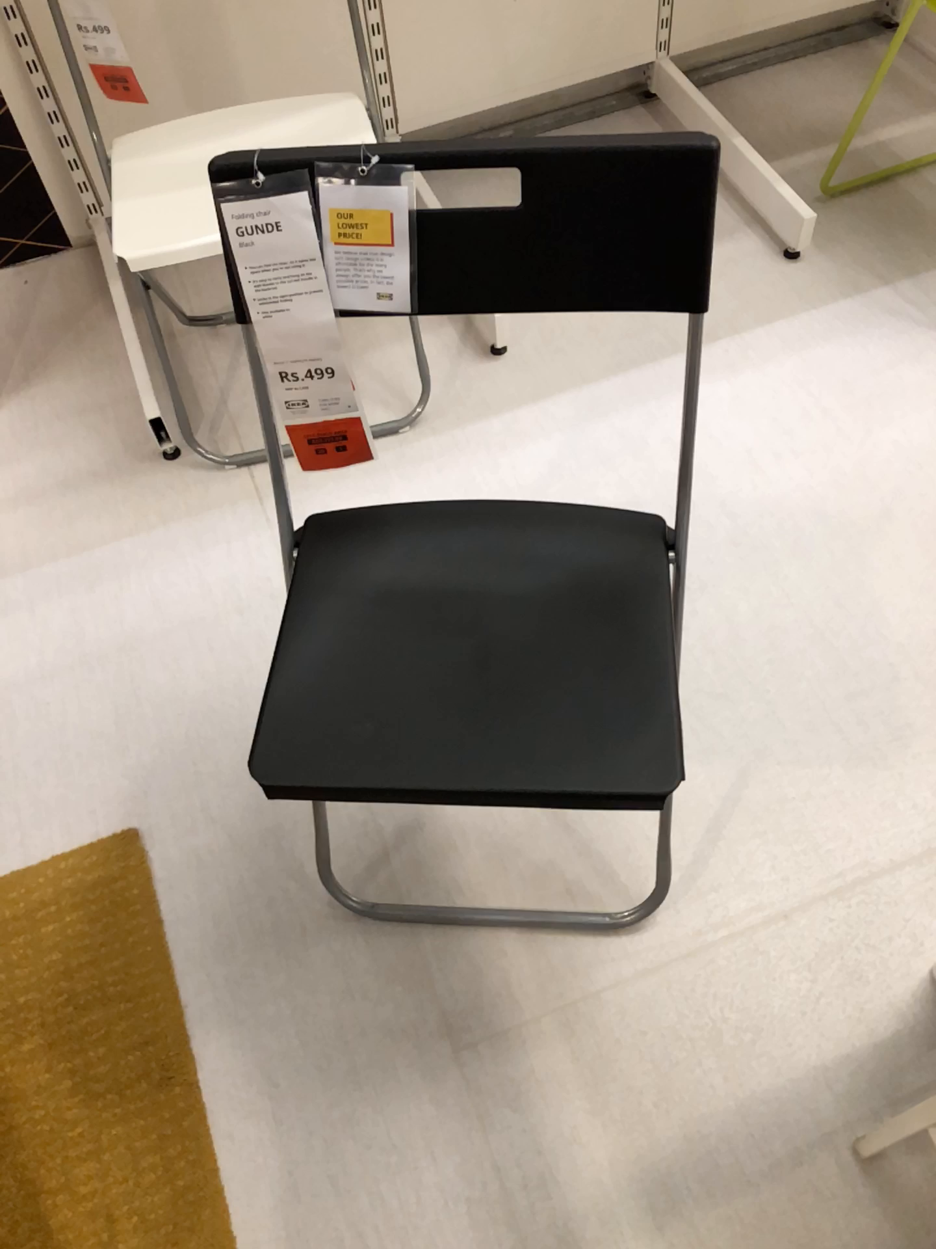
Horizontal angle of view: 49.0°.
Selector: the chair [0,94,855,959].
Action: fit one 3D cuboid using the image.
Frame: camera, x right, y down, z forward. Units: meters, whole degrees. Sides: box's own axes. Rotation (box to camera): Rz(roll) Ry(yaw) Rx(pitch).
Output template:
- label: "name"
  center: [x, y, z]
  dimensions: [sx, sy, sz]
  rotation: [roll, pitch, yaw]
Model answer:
- label: "chair"
  center: [0.008, -0.016, 1.047]
  dimensions: [0.500, 0.786, 0.462]
  rotation: [0, 56, 5]
